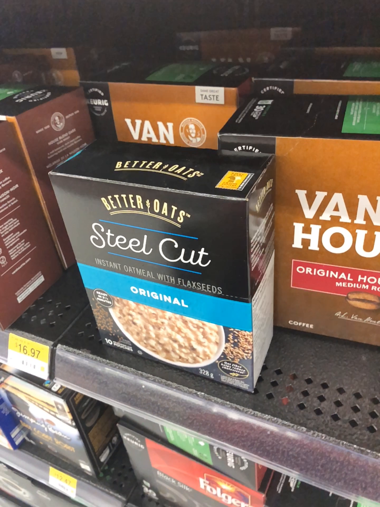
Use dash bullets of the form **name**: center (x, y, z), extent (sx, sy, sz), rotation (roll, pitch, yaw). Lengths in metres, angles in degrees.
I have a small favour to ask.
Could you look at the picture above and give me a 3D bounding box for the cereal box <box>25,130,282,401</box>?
- **cereal box**: center (-0.016, 0.011, 0.318), extent (0.150, 0.179, 0.060), rotation (11, 41, 22)
